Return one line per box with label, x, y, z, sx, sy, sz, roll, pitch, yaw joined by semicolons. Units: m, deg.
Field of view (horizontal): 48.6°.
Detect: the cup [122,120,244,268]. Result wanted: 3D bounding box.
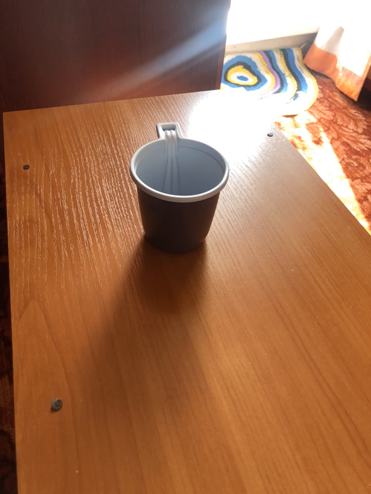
cup;-0.007;-0.045;0.325;0.070;0.060;0.100;-8;48;-11
